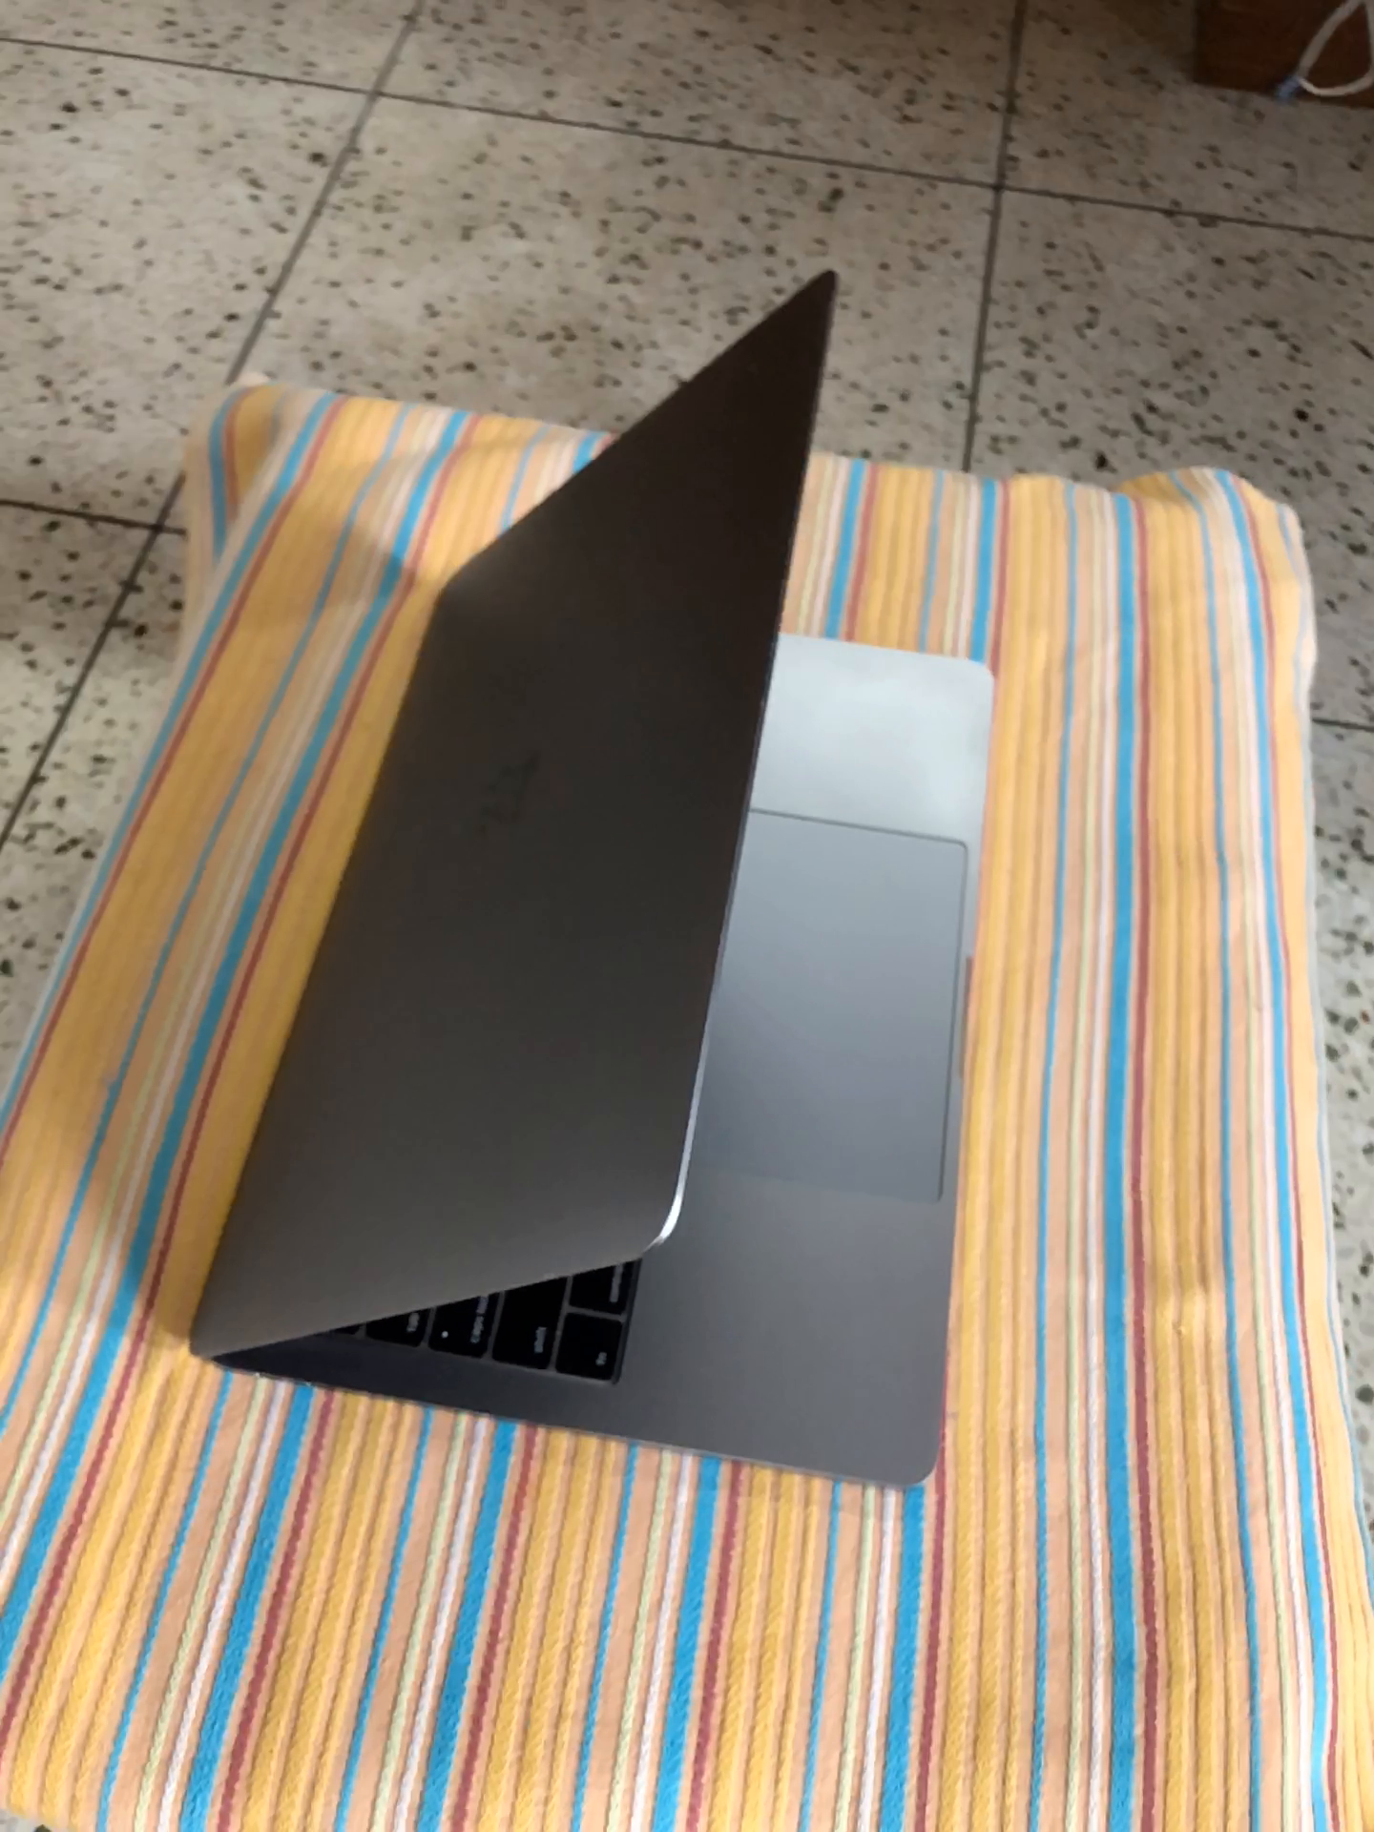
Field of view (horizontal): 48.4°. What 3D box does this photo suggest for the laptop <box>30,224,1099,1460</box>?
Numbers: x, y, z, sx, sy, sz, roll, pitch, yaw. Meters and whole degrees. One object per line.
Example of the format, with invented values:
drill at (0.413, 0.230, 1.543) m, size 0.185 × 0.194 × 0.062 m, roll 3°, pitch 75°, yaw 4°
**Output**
laptop at (-0.009, -0.027, 0.447) m, size 0.203 × 0.160 × 0.295 m, roll 10°, pitch 59°, yaw 3°
